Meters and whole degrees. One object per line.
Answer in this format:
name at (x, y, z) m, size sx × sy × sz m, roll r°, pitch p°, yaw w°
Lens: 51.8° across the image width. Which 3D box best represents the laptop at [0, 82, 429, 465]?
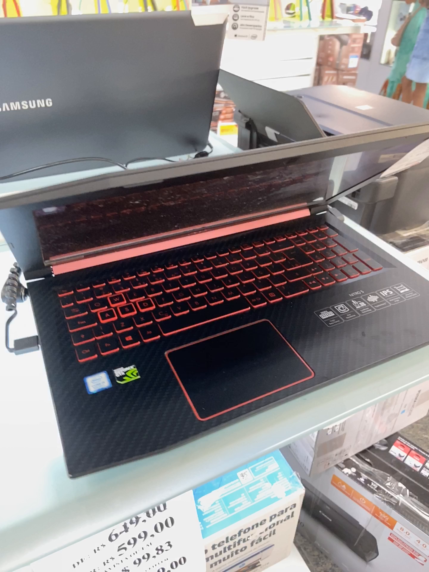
laptop at (0.026, -0.057, 0.401) m, size 0.380 × 0.163 × 0.235 m, roll -16°, pitch 39°, yaw -21°
